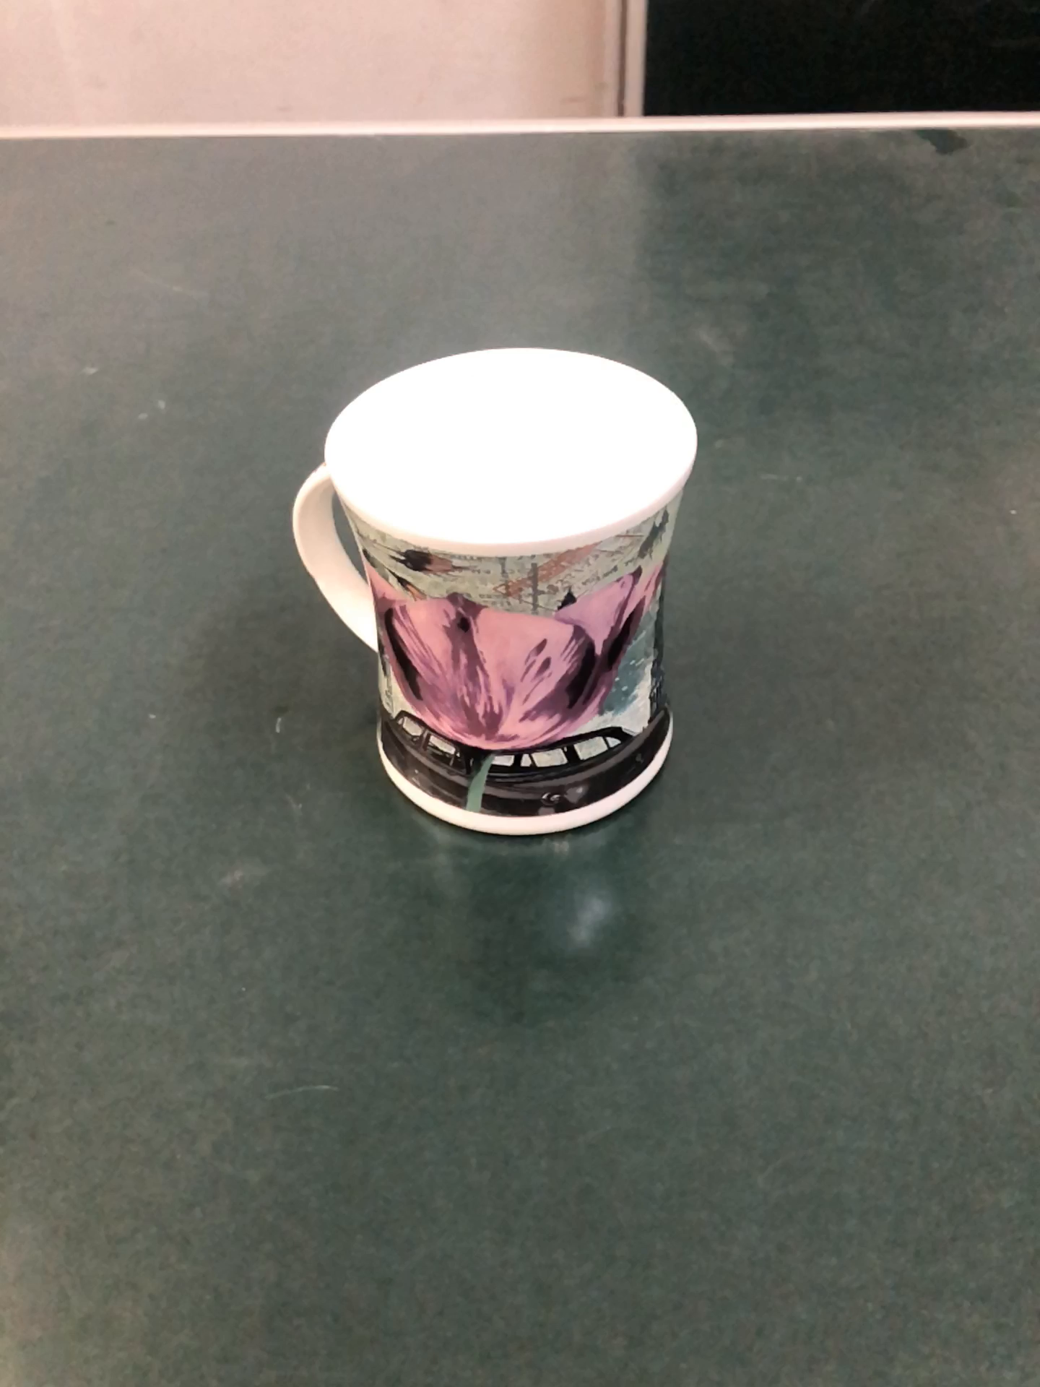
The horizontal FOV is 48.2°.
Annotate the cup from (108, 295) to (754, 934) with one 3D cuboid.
[{"bbox_3d":[-0.016,-0.024,0.303,0.120,0.110,0.090,16,46,19],"label":"cup"}]
